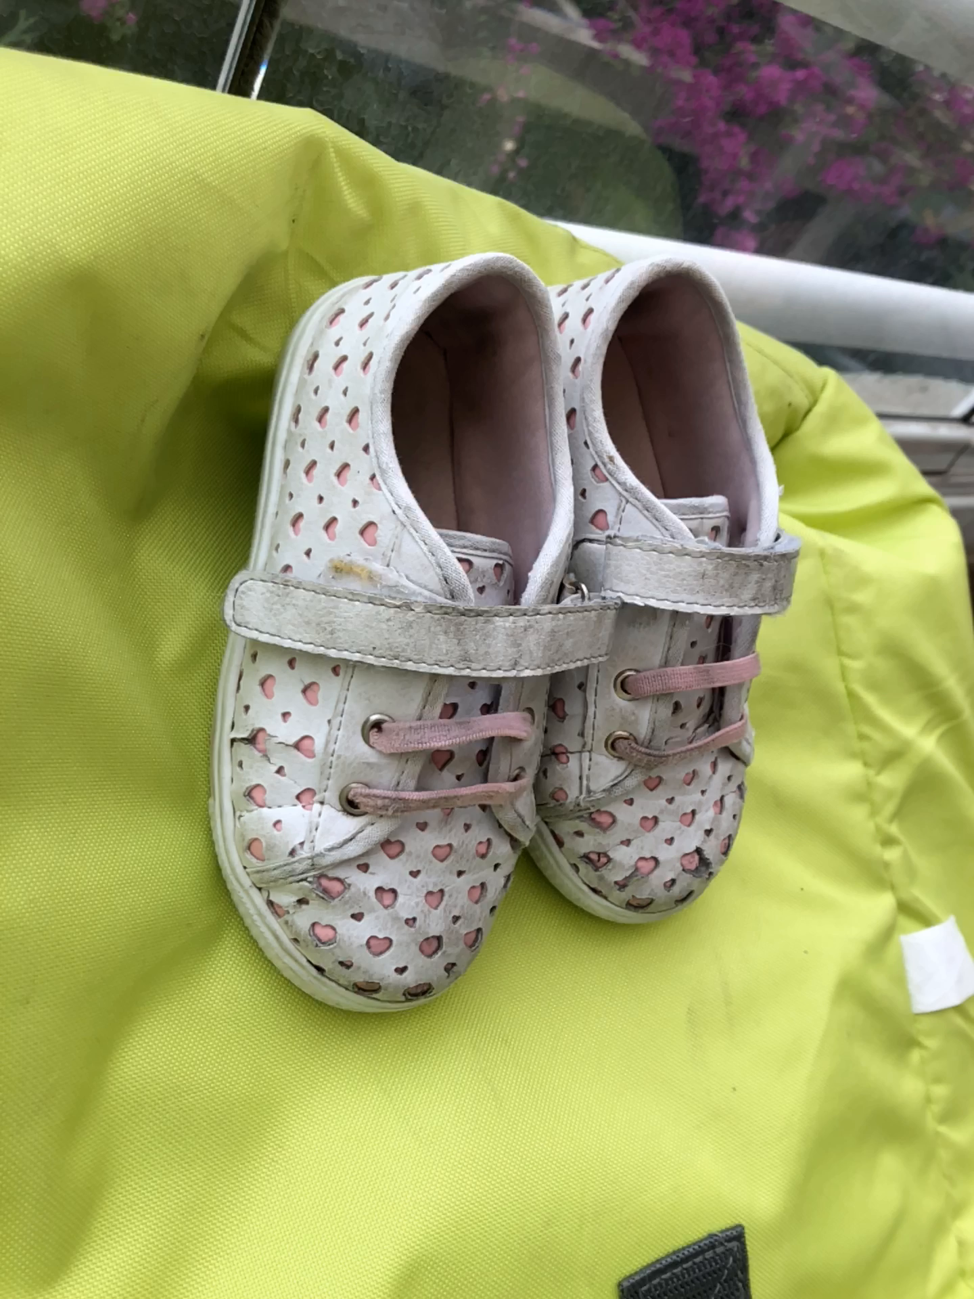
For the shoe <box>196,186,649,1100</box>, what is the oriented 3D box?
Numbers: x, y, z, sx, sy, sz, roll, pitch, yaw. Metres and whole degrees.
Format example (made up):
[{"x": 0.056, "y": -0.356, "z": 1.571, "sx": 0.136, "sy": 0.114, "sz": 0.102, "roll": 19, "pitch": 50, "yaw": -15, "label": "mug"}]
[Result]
[{"x": -0.016, "y": -0.001, "z": 0.255, "sx": 0.081, "sy": 0.060, "sz": 0.176, "roll": 2, "pitch": 90, "yaw": -33, "label": "shoe"}]

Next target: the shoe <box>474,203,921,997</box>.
[{"x": 0.056, "y": -0.013, "z": 0.287, "sx": 0.081, "sy": 0.060, "sz": 0.176, "roll": -7, "pitch": 91, "yaw": -38, "label": "shoe"}]
